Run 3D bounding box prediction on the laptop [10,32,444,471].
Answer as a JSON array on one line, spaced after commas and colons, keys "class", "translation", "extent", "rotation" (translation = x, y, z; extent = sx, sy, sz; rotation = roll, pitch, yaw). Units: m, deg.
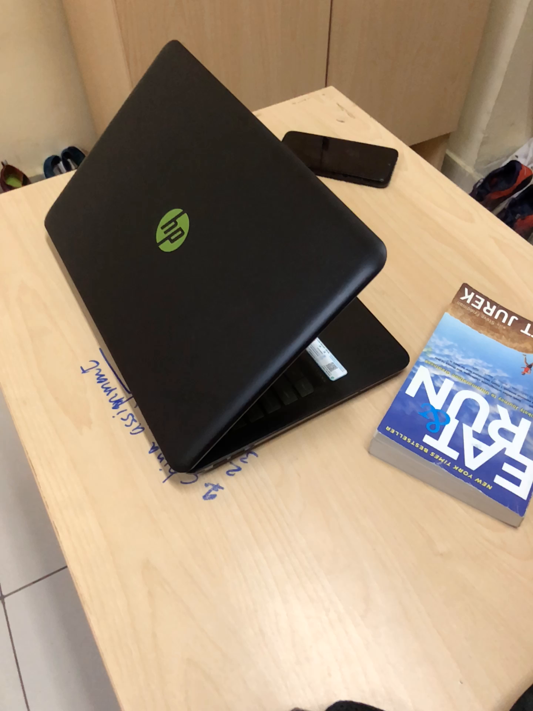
[{"class": "laptop", "translation": [-0.054, -0.124, 0.570], "extent": [0.231, 0.167, 0.360], "rotation": [-25, 57, -18]}]
